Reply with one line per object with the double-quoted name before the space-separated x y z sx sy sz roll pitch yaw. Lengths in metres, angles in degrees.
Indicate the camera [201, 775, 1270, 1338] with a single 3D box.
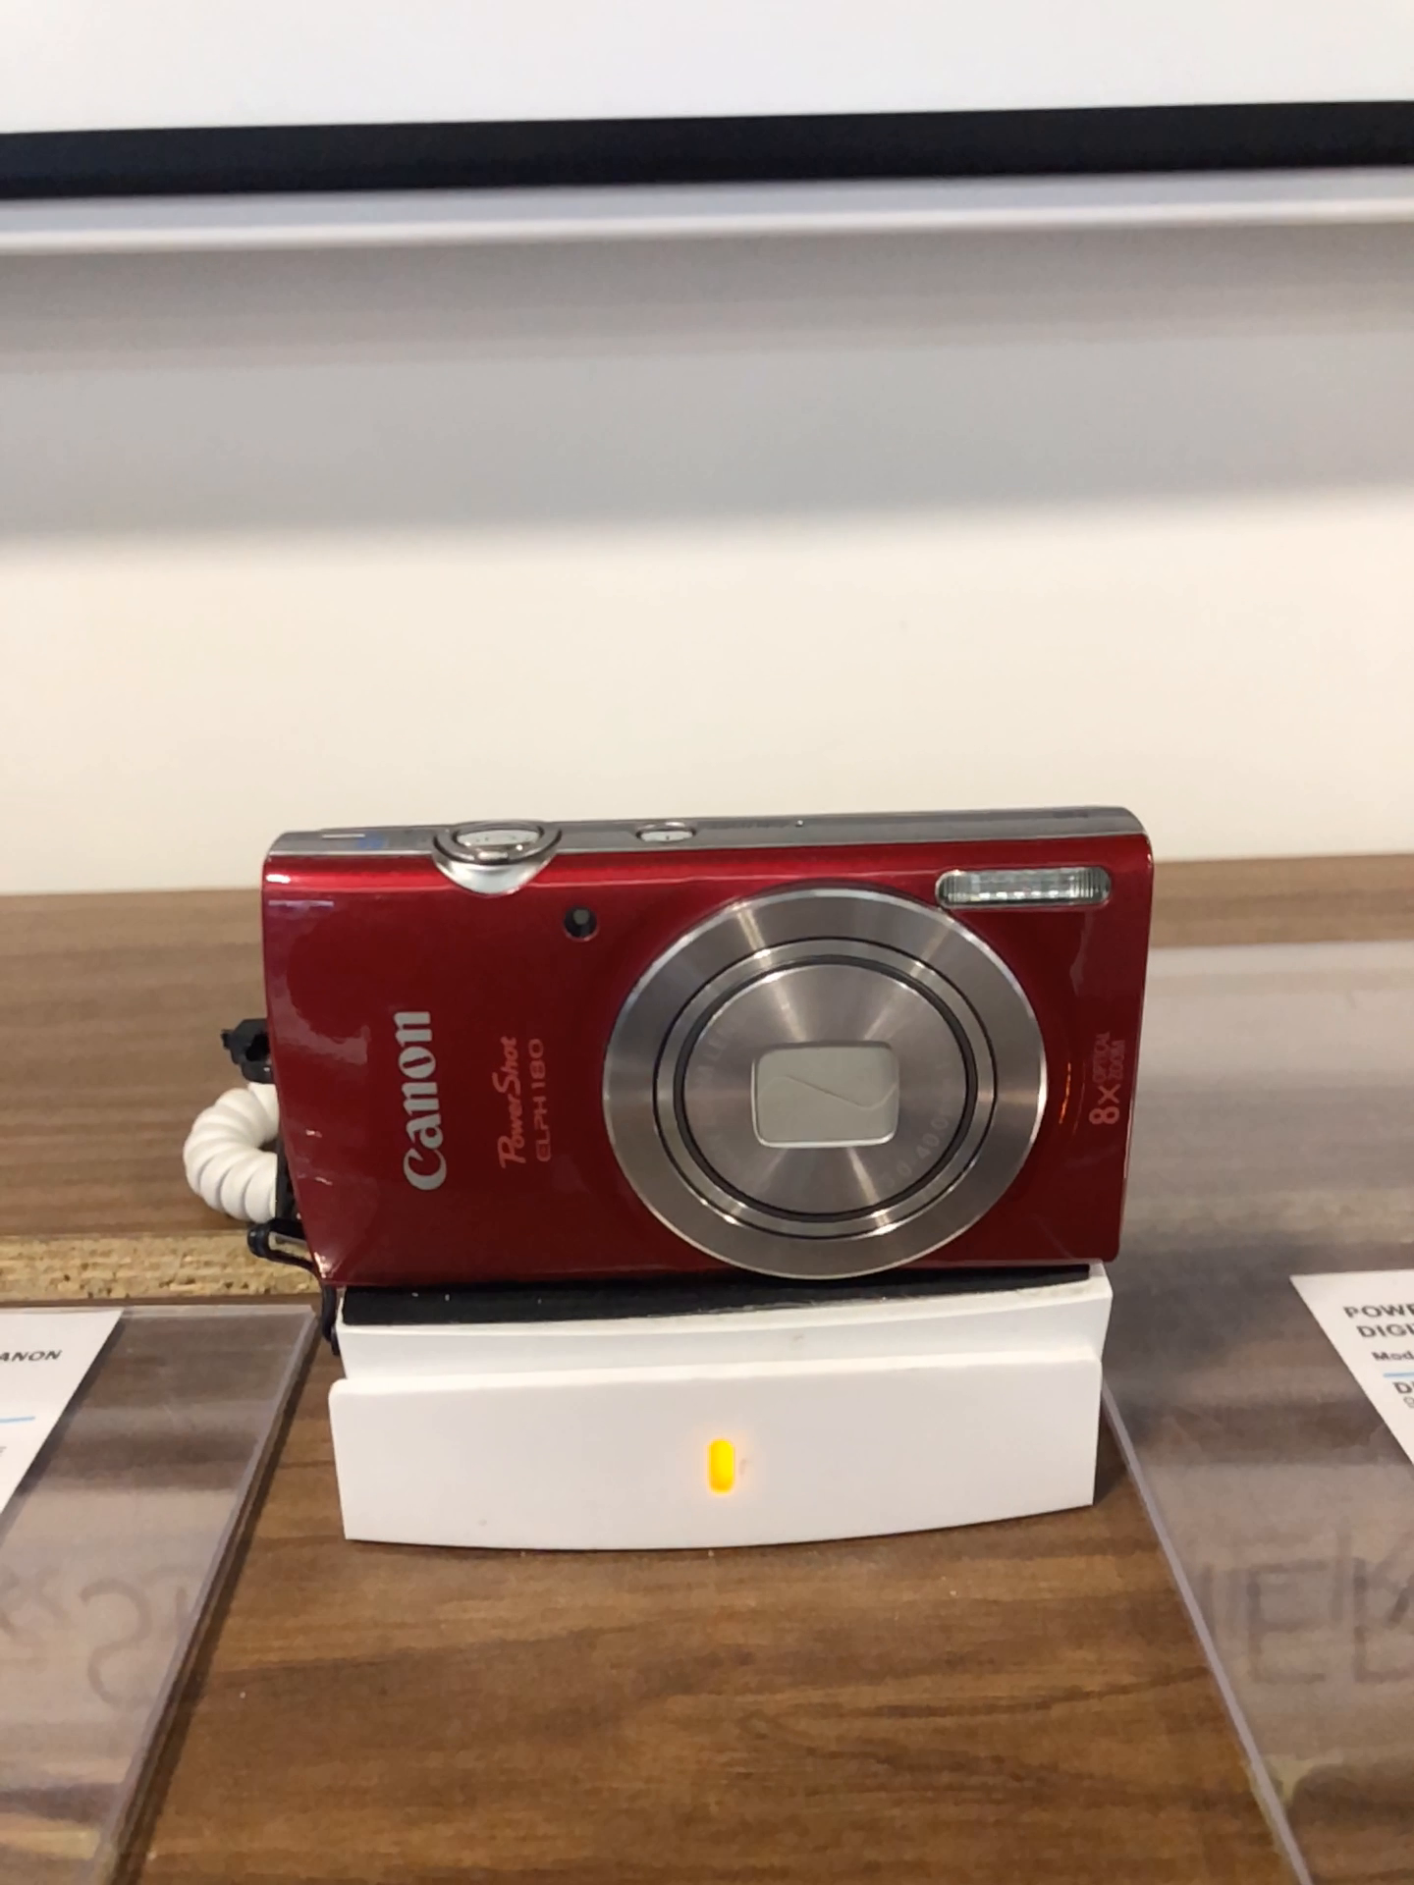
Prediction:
"camera" 0.003 0.011 0.170 0.100 0.050 0.030 -1 20 0
